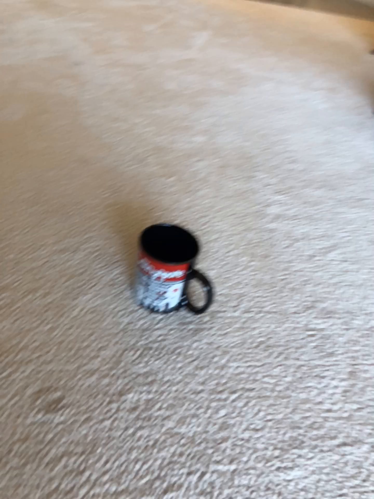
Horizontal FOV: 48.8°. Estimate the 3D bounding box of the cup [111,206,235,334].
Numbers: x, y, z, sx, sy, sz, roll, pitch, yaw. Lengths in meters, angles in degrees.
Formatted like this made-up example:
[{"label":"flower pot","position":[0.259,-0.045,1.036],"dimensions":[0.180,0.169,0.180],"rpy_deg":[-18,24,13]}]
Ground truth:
[{"label":"cup","position":[-0.024,0.023,0.558],"dimensions":[0.130,0.090,0.090],"rpy_deg":[36,44,27]}]
